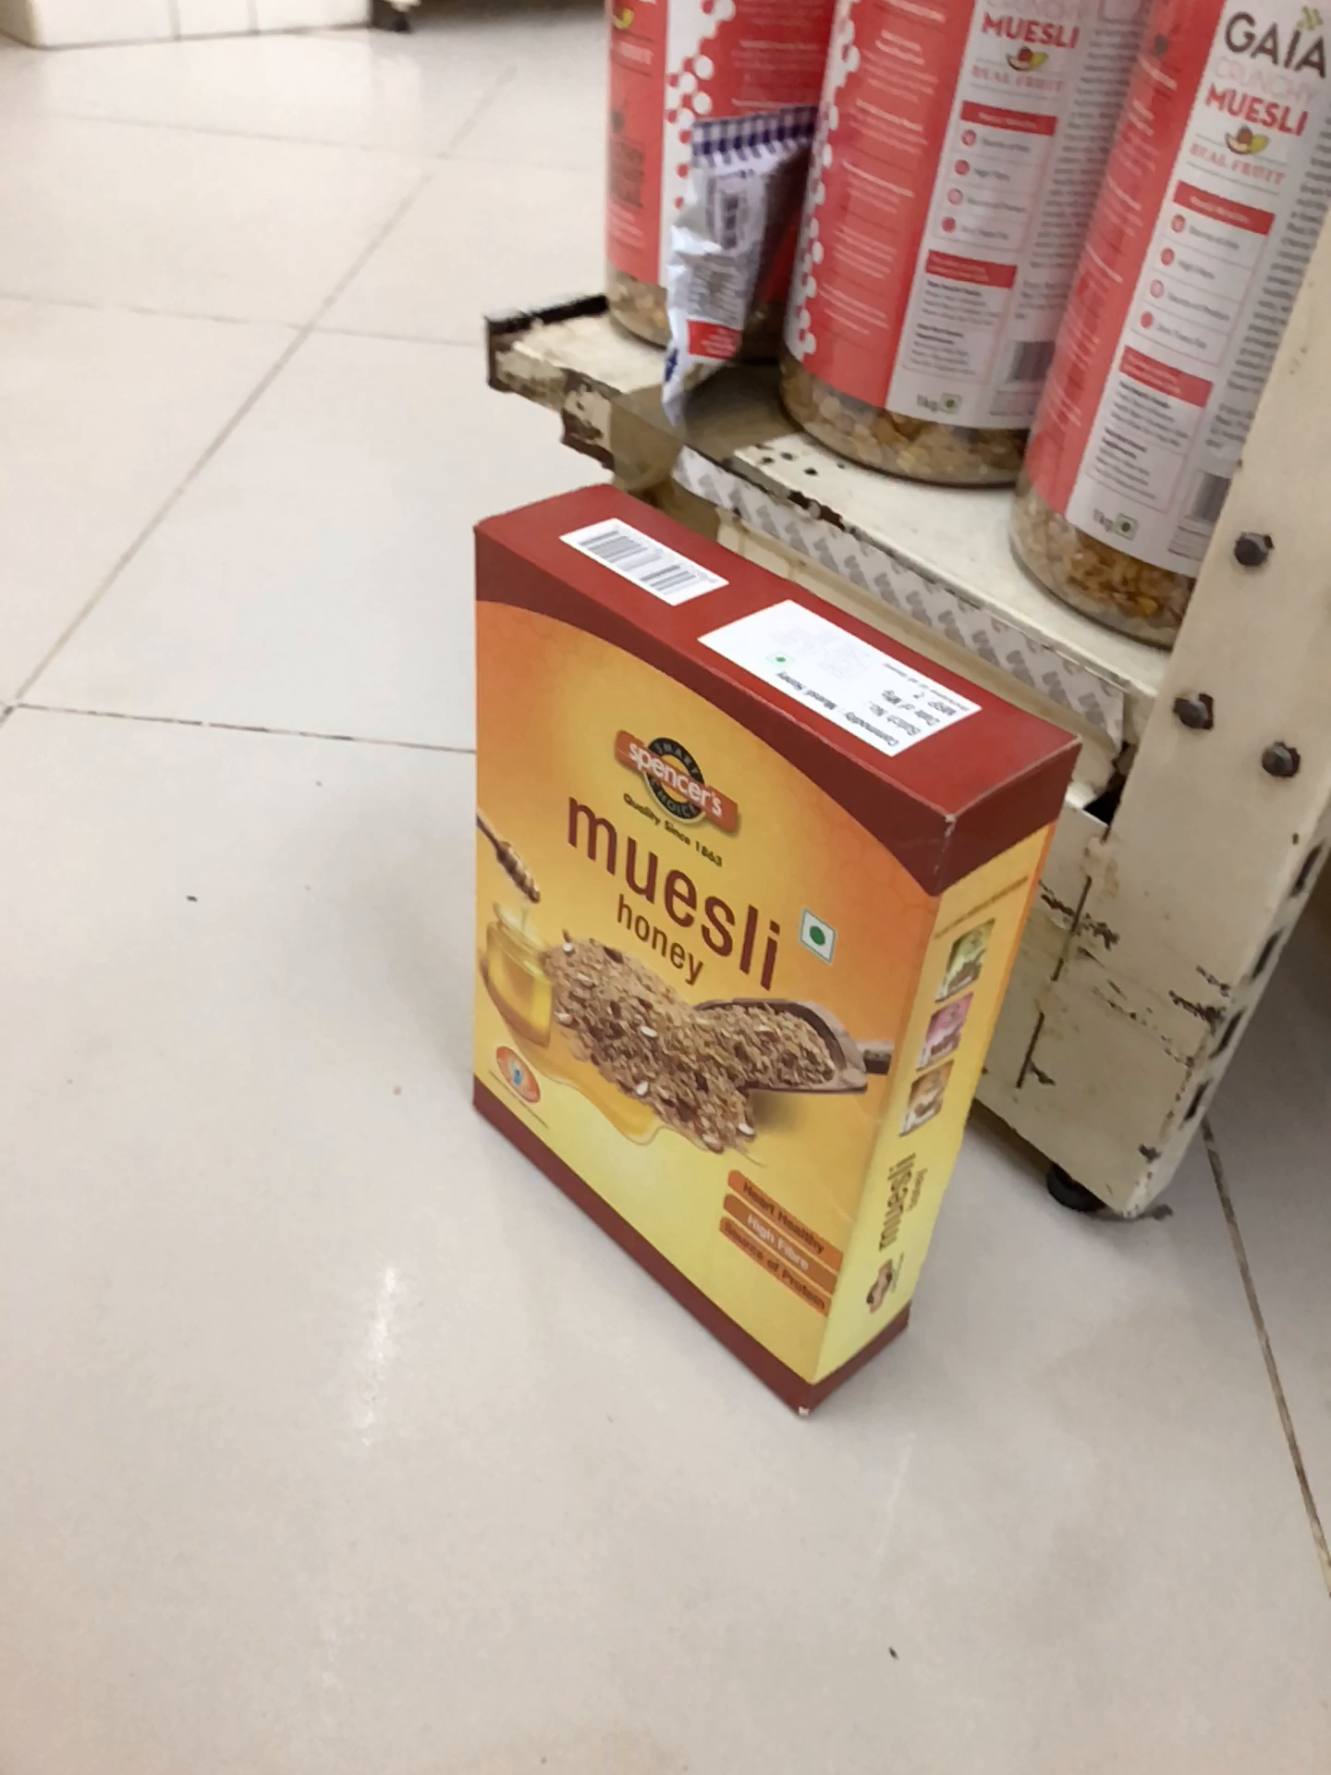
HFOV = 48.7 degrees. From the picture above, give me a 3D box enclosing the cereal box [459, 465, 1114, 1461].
[{"bbox_3d":[0.016,0.028,0.473,0.060,0.258,0.190,-26,48,-32],"label":"cereal box"}]
